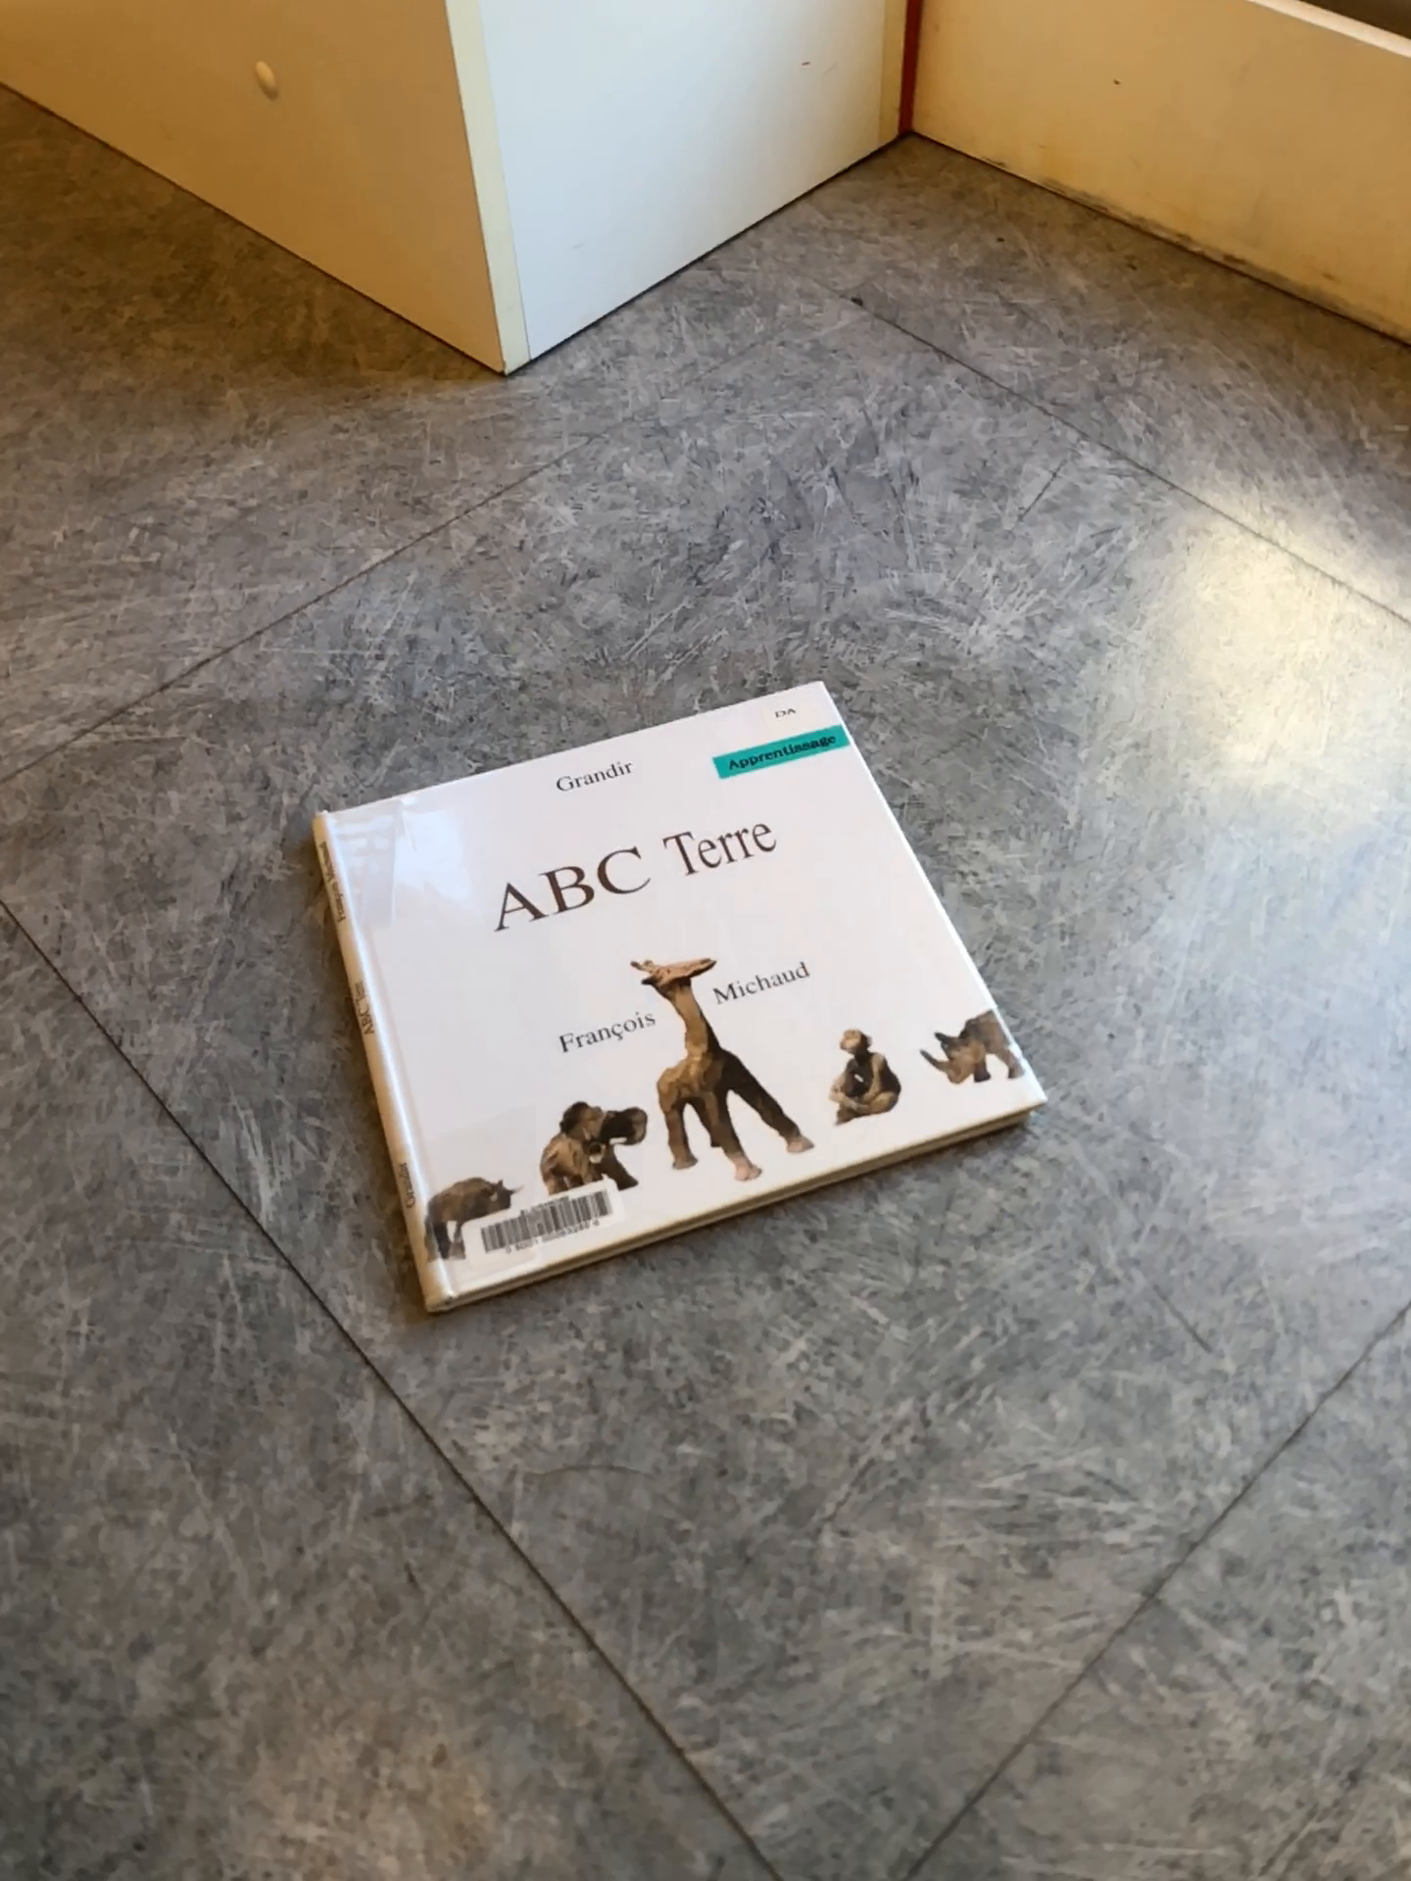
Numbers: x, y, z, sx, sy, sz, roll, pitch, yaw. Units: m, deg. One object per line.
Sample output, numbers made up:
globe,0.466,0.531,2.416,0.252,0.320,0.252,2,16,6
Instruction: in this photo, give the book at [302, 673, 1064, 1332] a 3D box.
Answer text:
book,-0.016,0.007,0.515,0.200,0.020,0.194,-16,55,-10
